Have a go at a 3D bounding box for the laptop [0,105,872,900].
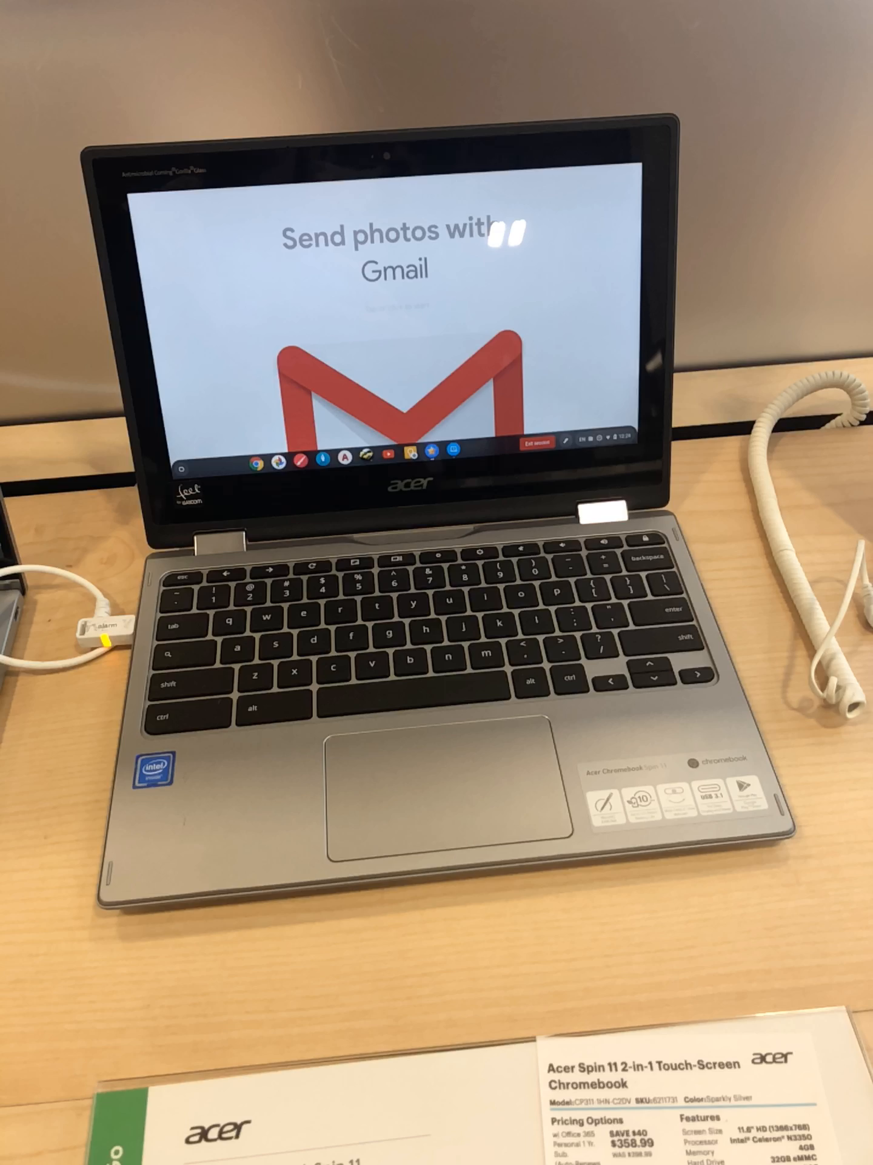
[{"bbox_3d":[-0.011,-0.054,0.432,0.287,0.176,0.296,-5,48,-3],"label":"laptop"}]
